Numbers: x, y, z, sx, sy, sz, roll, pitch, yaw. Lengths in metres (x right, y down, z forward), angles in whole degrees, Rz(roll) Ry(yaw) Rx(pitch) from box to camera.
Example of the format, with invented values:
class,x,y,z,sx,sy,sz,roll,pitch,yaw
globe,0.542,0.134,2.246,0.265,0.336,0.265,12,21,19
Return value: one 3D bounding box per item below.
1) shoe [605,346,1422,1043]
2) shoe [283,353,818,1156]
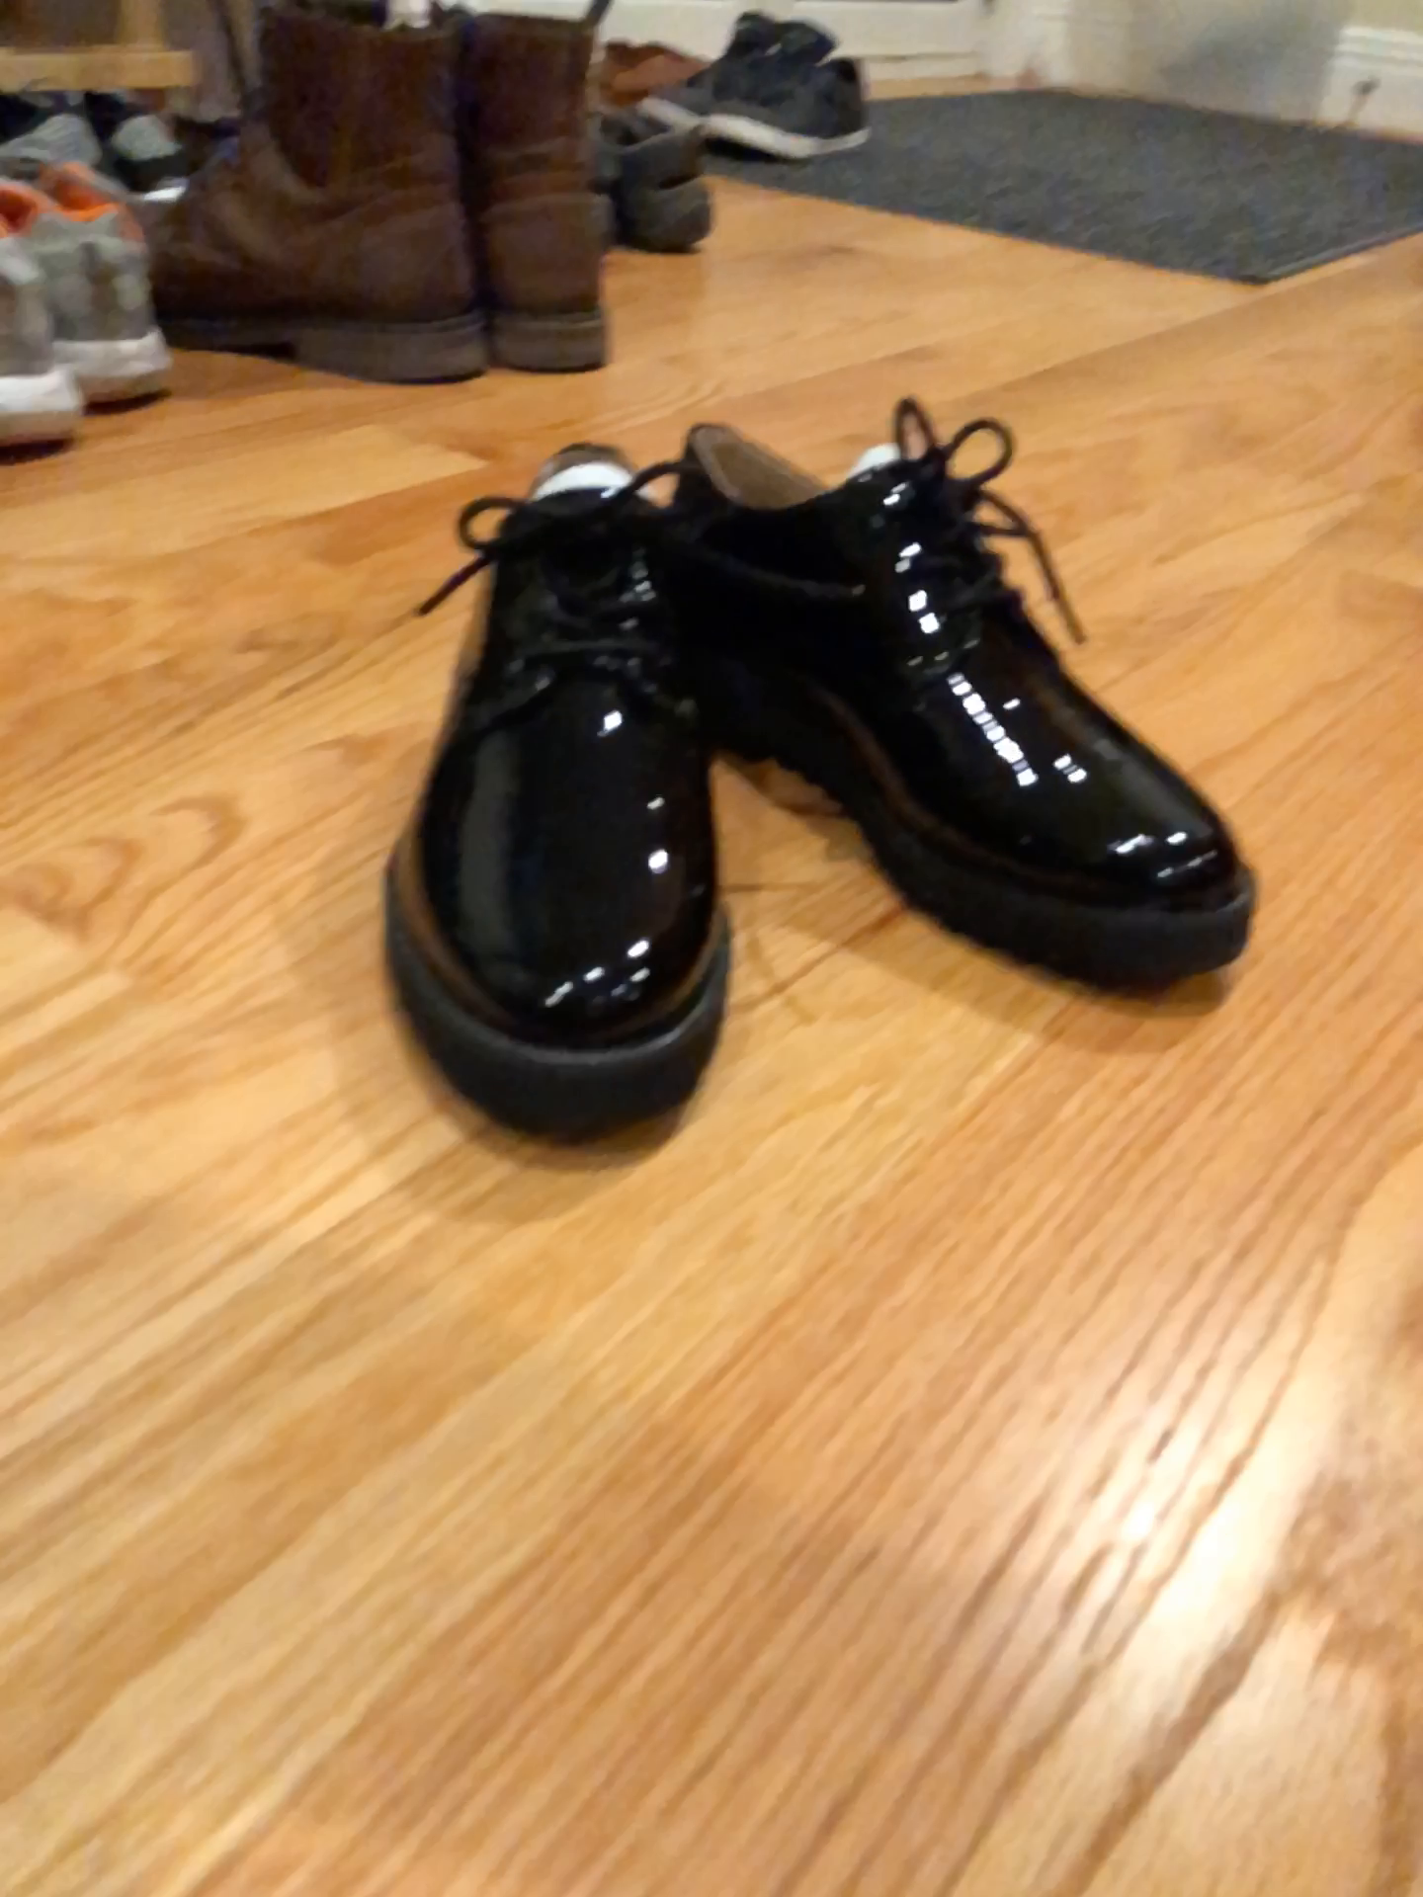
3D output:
class,x,y,z,sx,sy,sz,roll,pitch,yaw
shoe,0.073,-0.094,0.463,0.095,0.101,0.252,-16,40,-29
shoe,-0.034,-0.070,0.408,0.095,0.101,0.252,3,34,-3
